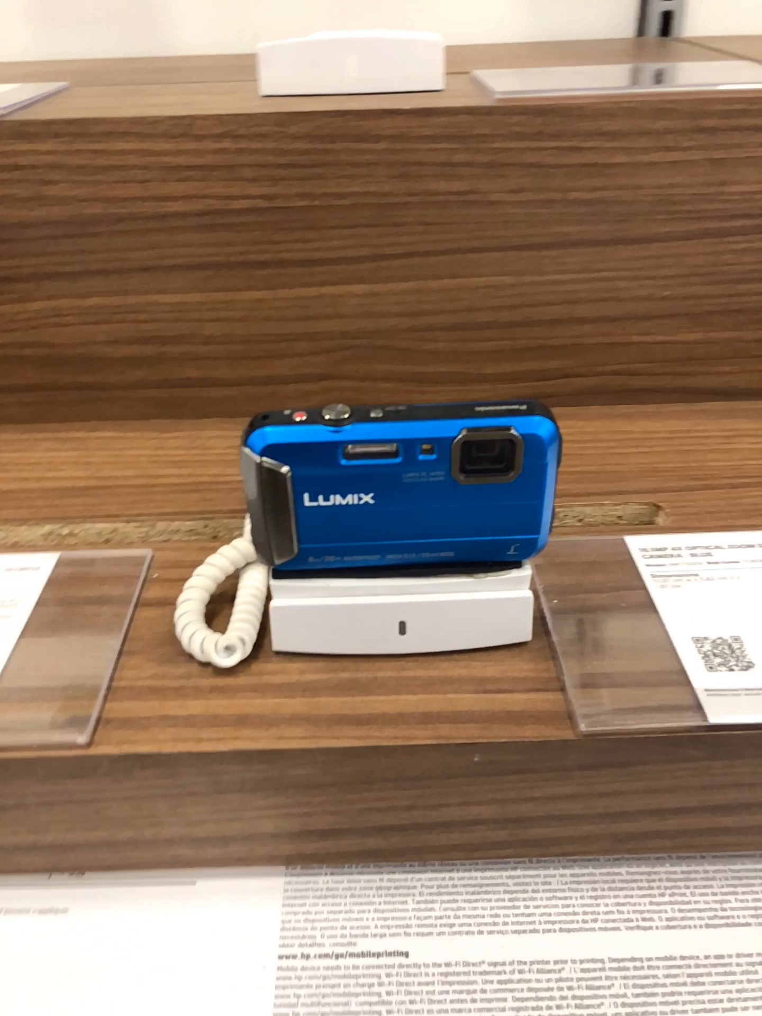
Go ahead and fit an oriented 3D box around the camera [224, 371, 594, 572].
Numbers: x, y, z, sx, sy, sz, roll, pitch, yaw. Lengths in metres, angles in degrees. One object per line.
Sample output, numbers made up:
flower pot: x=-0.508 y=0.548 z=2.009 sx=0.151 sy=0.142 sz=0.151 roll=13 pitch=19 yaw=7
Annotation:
camera: x=0.009 y=-0.011 z=0.276 sx=0.110 sy=0.060 sz=0.020 roll=-2 pitch=35 yaw=0
